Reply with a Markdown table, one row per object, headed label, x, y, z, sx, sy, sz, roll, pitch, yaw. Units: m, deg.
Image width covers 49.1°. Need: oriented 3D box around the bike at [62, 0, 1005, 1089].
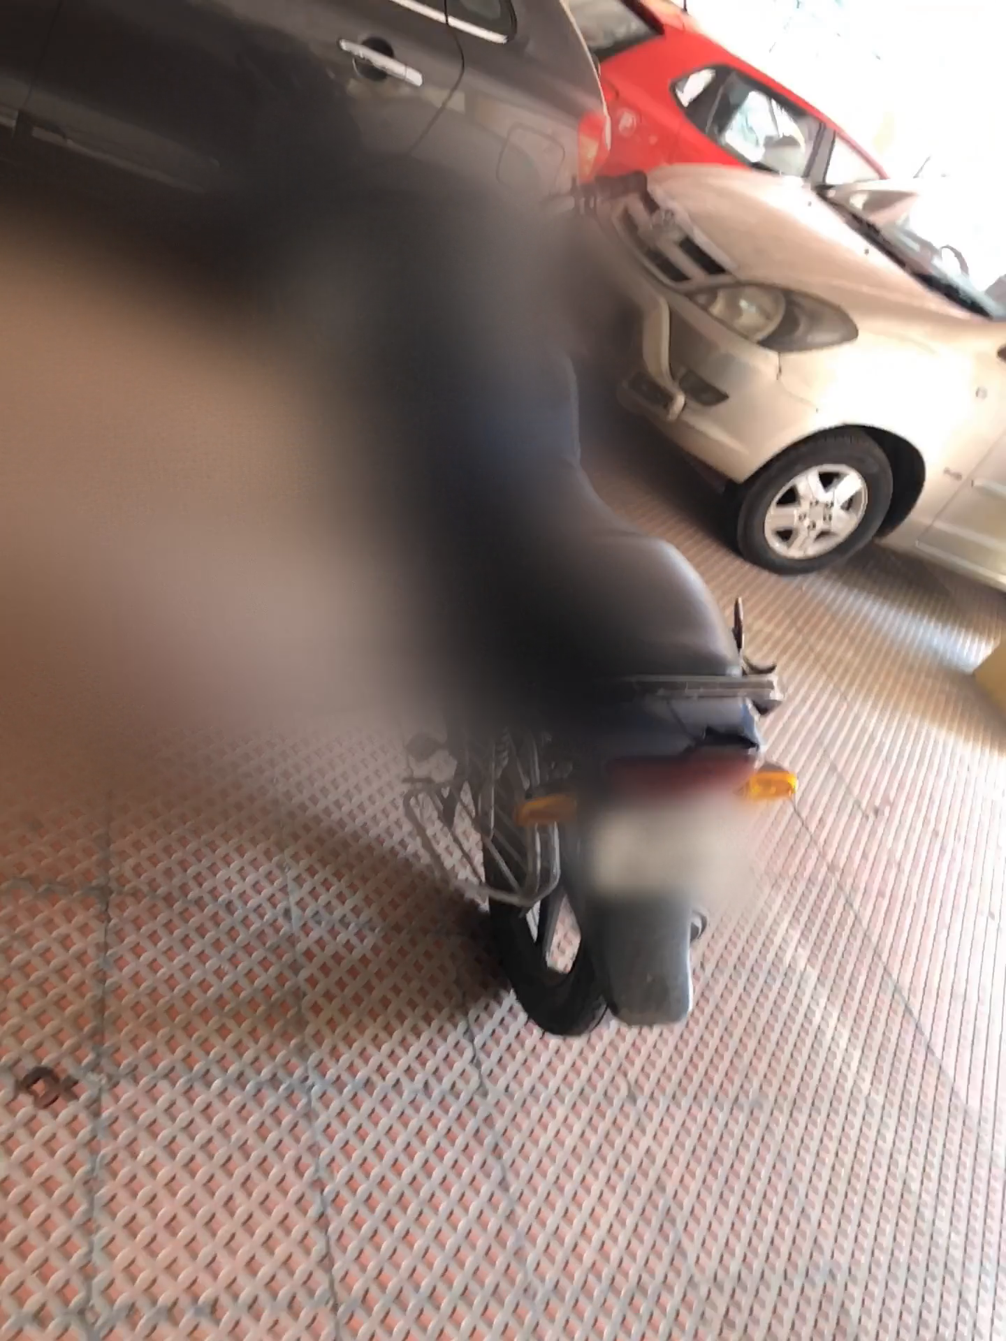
| label | x | y | z | sx | sy | sz | roll | pitch | yaw |
| --- | --- | --- | --- | --- | --- | --- | --- | --- | --- |
| bike | -0.134 | -0.373 | 1.915 | 0.735 | 1.073 | 1.693 | 8 | 41 | -36 |
